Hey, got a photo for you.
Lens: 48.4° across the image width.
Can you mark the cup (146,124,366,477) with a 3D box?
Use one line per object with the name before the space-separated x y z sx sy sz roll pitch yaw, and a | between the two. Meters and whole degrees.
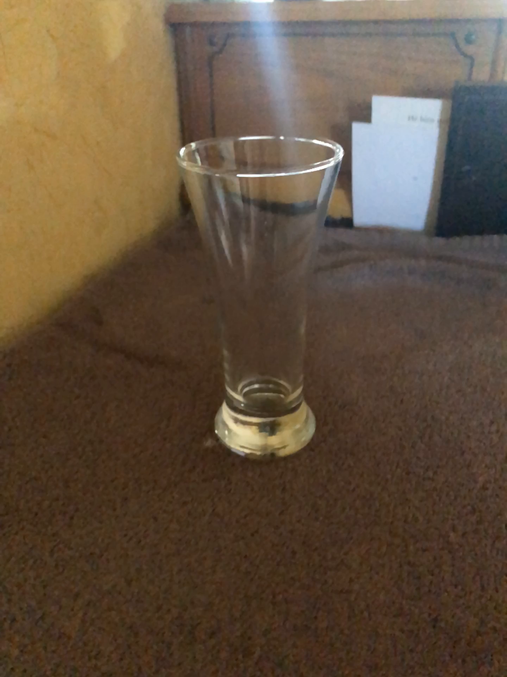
cup | 0.001 -0.018 0.277 0.080 0.149 0.080 -1 30 0
